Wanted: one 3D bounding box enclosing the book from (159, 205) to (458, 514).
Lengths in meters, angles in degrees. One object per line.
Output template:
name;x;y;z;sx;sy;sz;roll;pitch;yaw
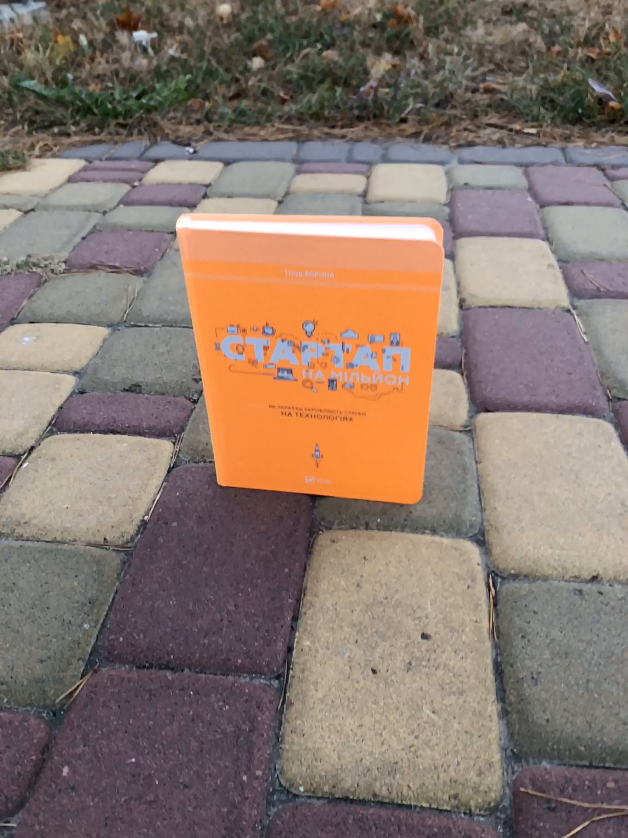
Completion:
book;0.001;-0.031;0.451;0.164;0.200;0.040;5;39;9
